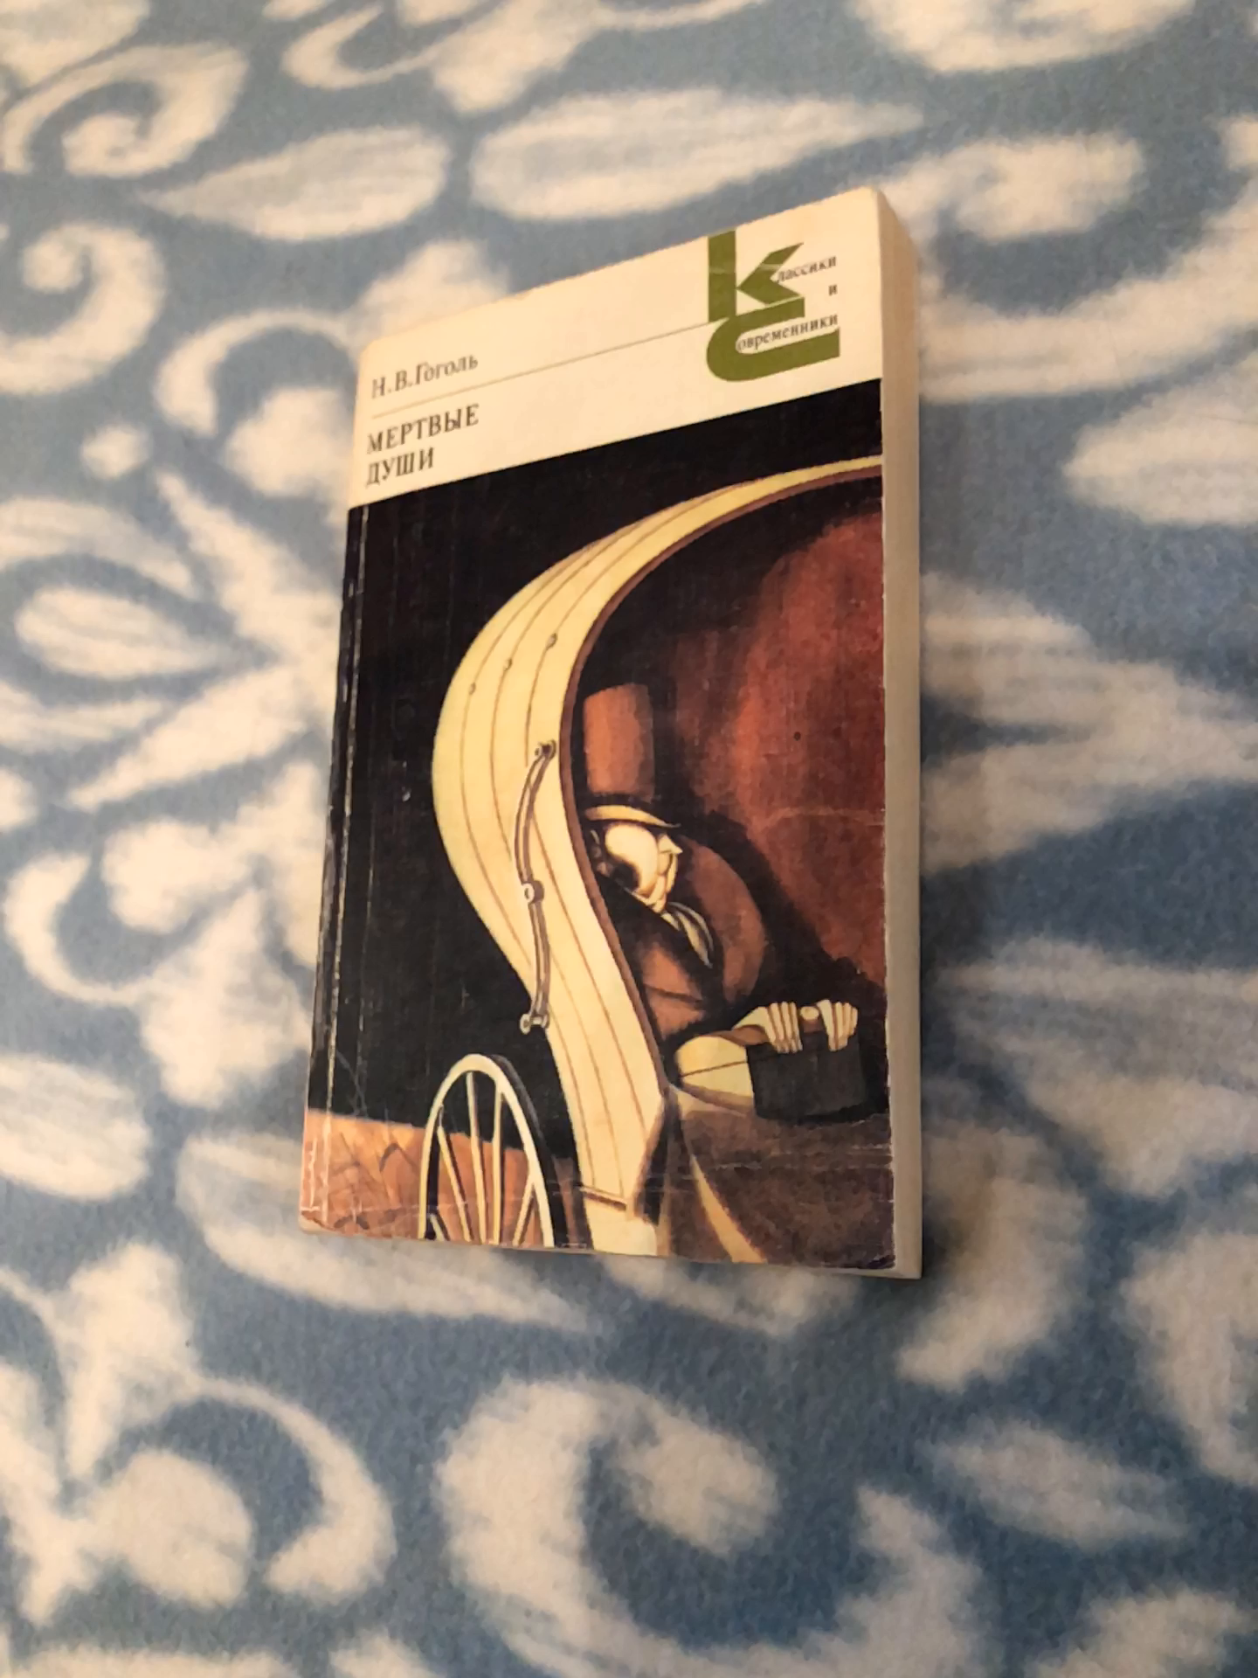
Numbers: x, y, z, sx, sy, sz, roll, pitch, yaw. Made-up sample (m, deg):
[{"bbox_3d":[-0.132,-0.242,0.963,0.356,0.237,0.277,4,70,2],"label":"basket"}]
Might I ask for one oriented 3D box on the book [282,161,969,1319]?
[{"bbox_3d":[-0.003,-0.018,0.271,0.126,0.025,0.199,-5,76,27],"label":"book"}]
